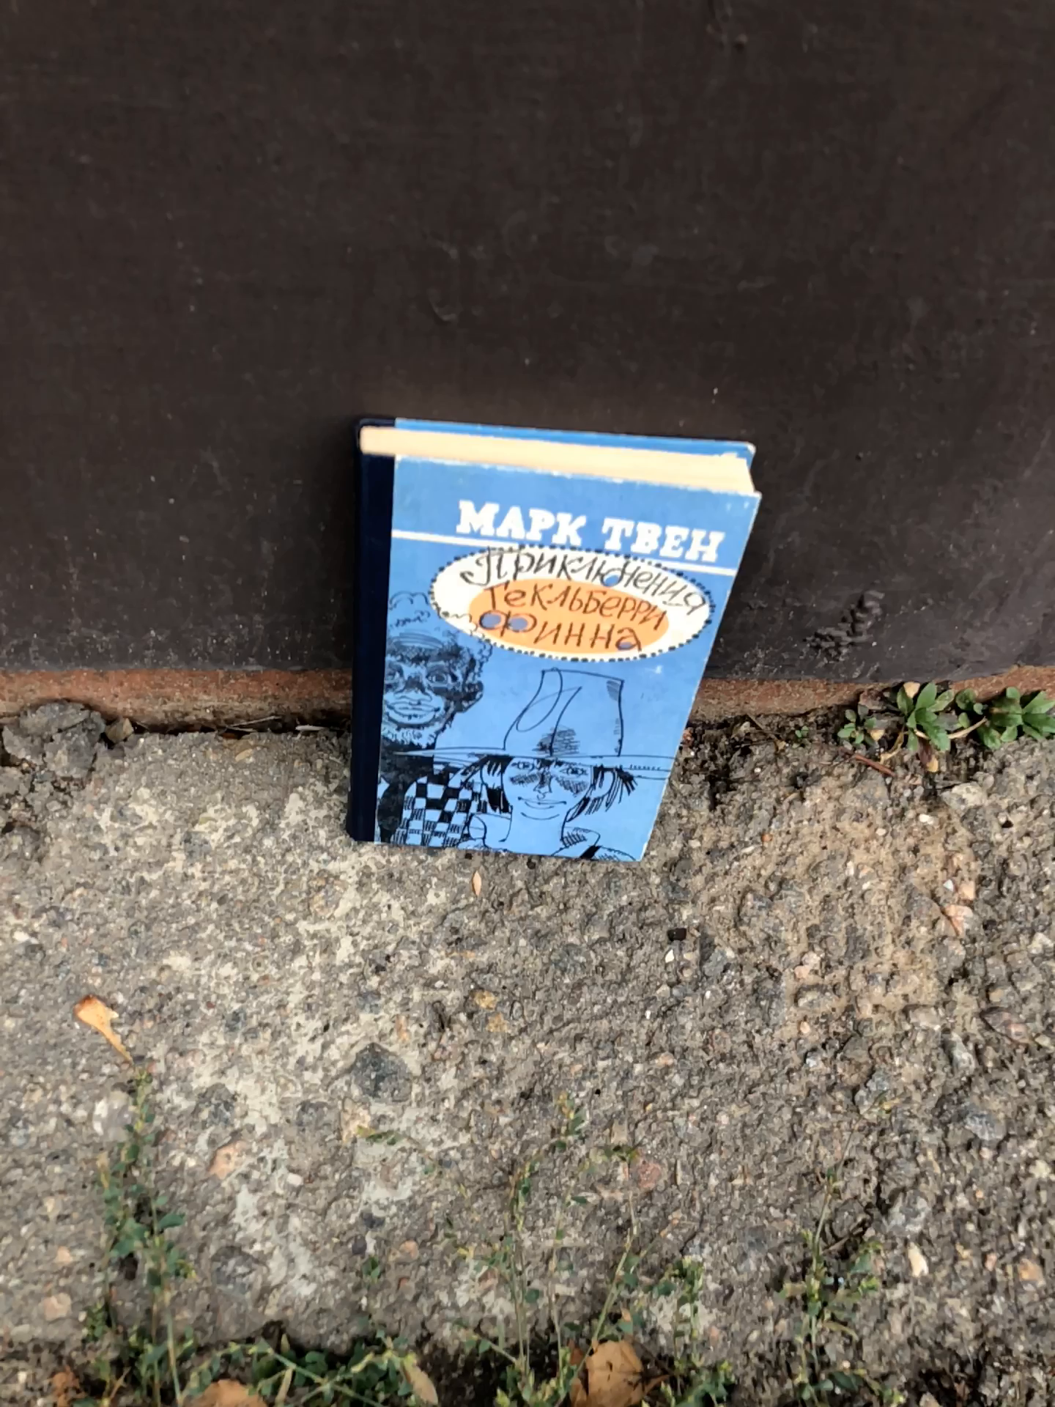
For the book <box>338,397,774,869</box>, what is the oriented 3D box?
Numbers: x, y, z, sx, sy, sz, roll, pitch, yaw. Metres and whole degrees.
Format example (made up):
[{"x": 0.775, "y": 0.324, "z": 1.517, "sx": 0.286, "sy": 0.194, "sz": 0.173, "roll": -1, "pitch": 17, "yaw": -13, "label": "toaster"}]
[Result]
[{"x": 0.002, "y": -0.014, "z": 0.419, "sx": 0.130, "sy": 0.186, "sz": 0.030, "roll": 5, "pitch": 45, "yaw": -1, "label": "book"}]
